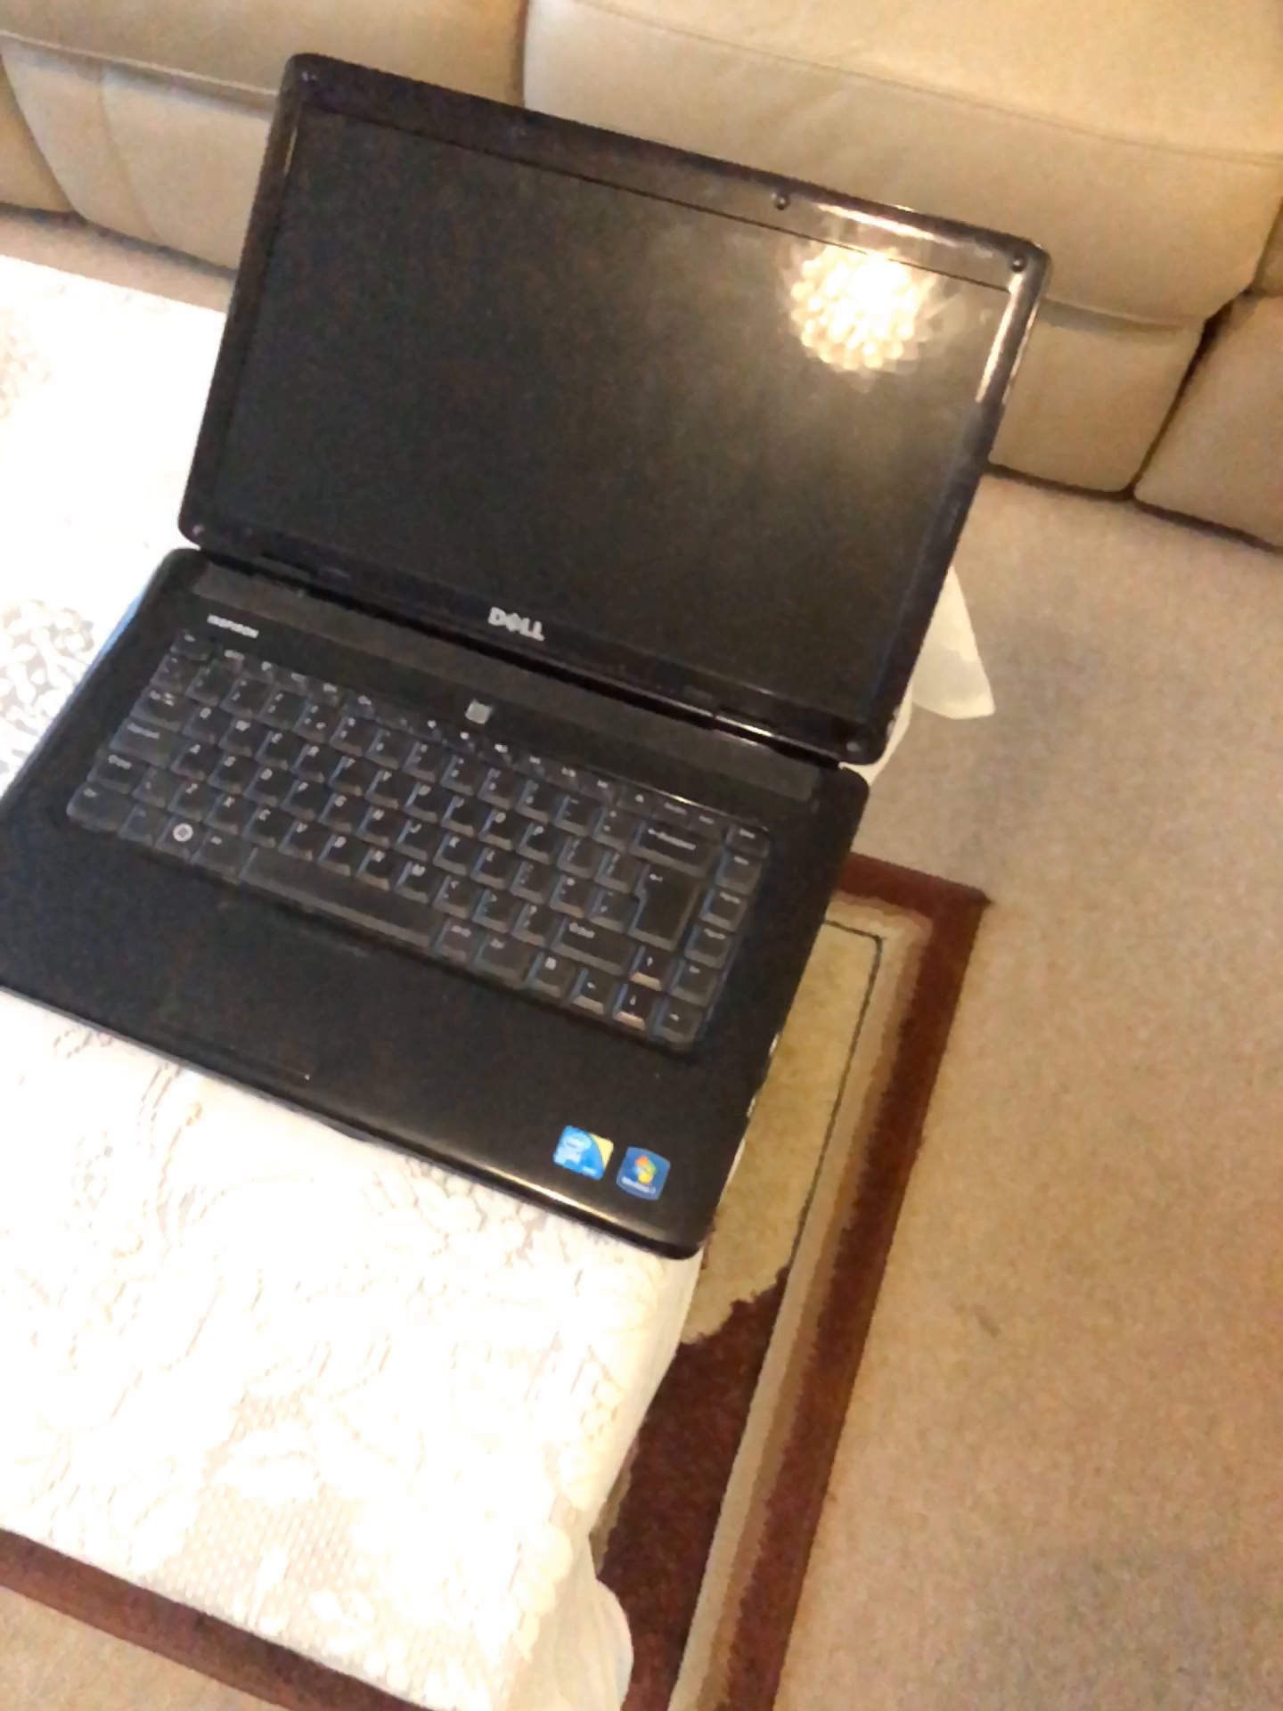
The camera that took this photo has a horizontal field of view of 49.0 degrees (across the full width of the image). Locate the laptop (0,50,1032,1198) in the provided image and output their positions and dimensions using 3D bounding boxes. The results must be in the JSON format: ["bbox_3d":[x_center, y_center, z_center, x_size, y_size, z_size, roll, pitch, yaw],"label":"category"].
[{"bbox_3d":[-0.068,-0.126,0.631,0.364,0.122,0.419,19,67,9],"label":"laptop"}]
